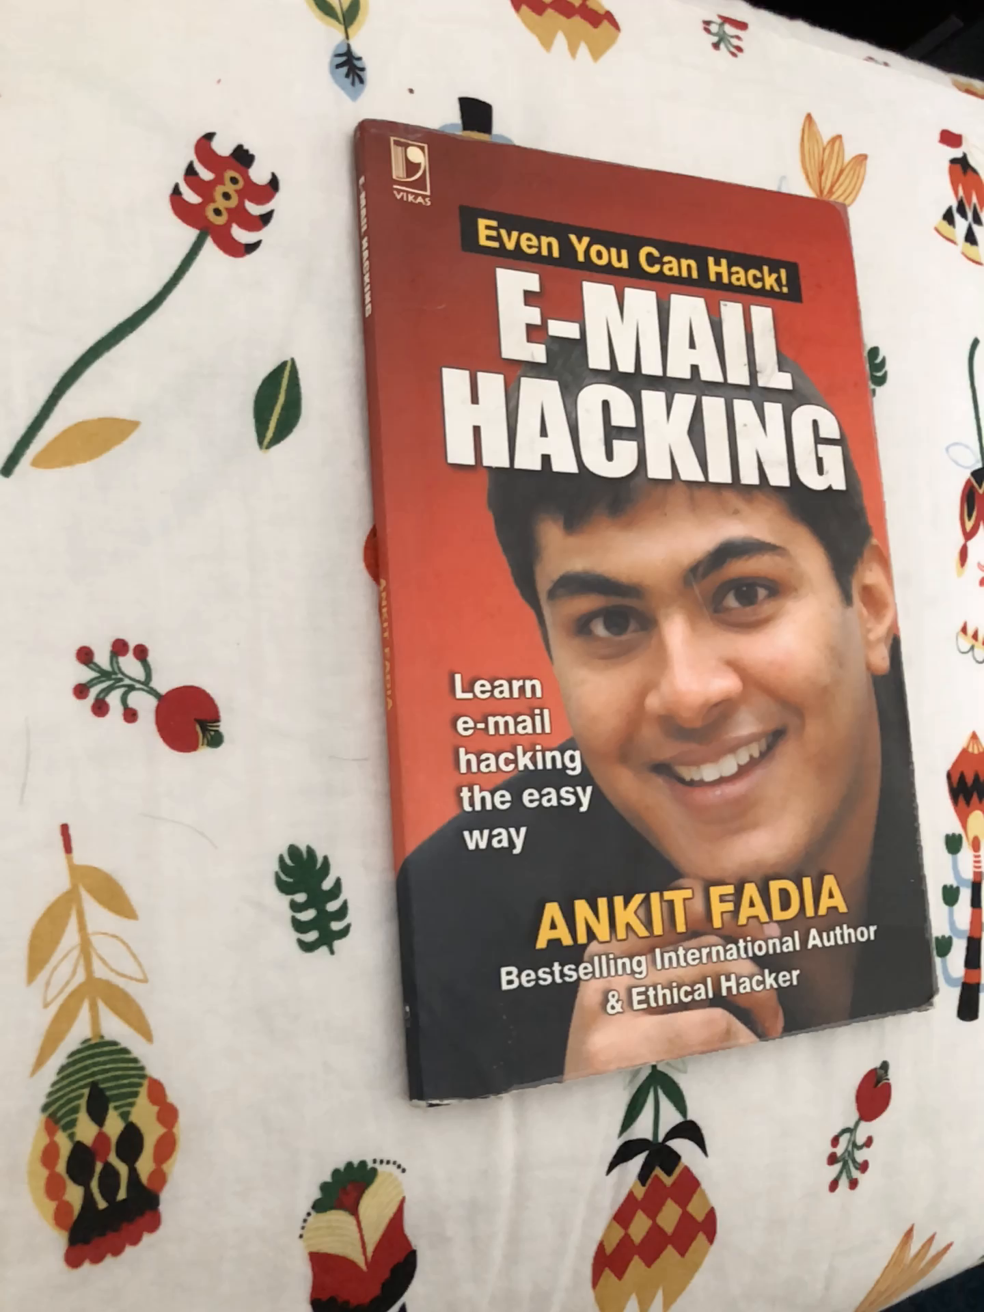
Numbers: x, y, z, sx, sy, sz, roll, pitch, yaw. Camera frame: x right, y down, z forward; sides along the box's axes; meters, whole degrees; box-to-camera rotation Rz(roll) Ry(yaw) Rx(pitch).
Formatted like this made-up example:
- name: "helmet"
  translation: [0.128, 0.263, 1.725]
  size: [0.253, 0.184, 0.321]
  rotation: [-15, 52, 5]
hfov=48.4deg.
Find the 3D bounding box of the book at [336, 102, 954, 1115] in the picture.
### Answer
- name: "book"
  translation: [0.038, -0.014, 0.255]
  size: [0.138, 0.020, 0.204]
  rotation: [-1, 84, -23]
